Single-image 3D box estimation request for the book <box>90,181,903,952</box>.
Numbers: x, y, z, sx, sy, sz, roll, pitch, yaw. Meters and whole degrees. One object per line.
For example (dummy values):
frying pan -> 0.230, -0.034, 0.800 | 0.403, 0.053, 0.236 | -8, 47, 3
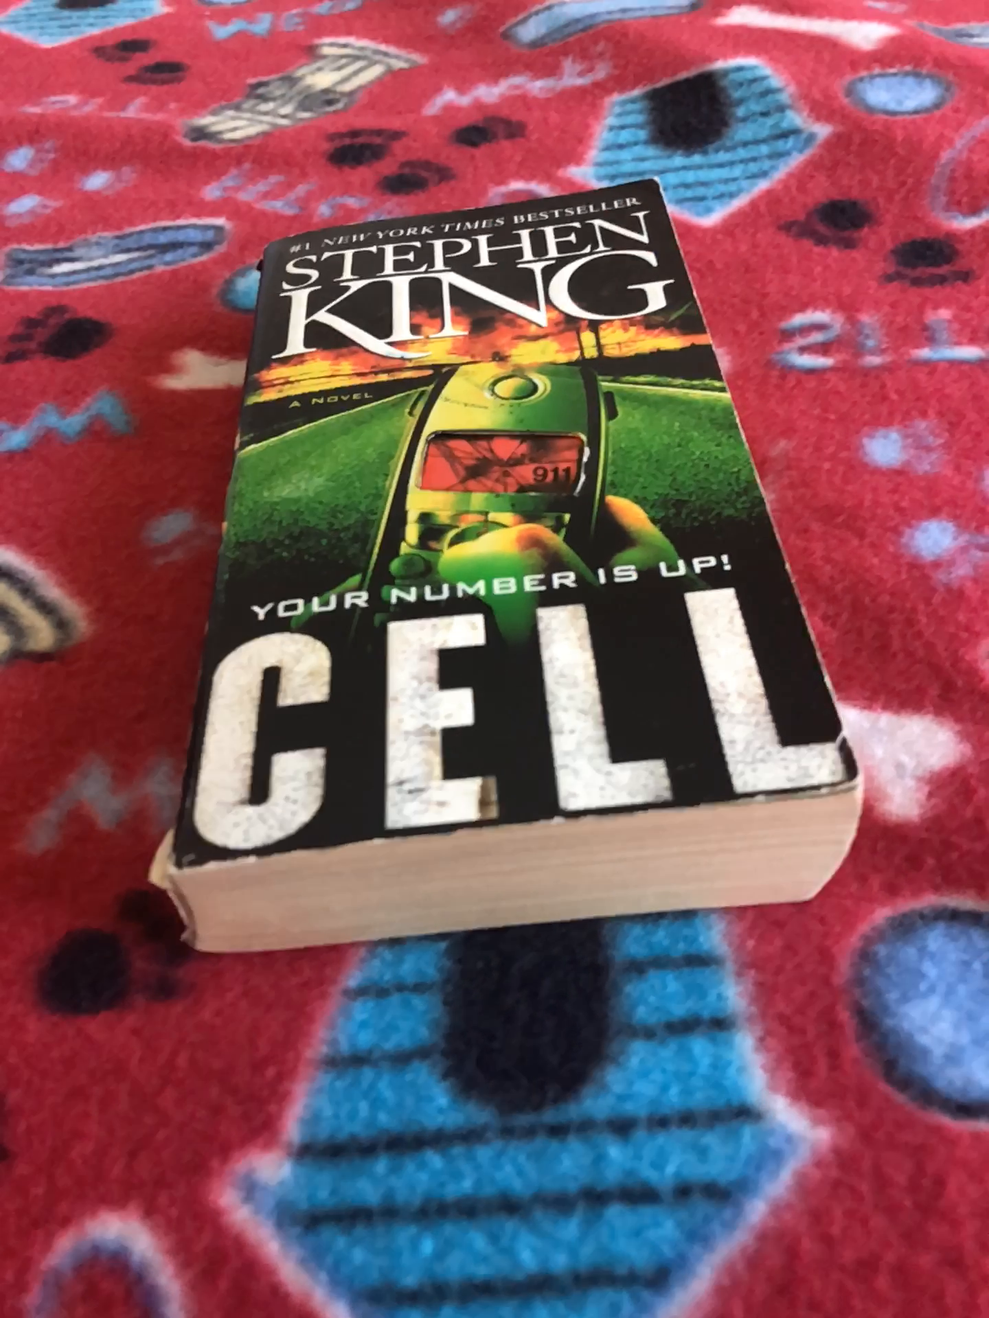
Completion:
book -> -0.005, -0.040, 0.239 | 0.120, 0.030, 0.201 | -4, 48, -1
